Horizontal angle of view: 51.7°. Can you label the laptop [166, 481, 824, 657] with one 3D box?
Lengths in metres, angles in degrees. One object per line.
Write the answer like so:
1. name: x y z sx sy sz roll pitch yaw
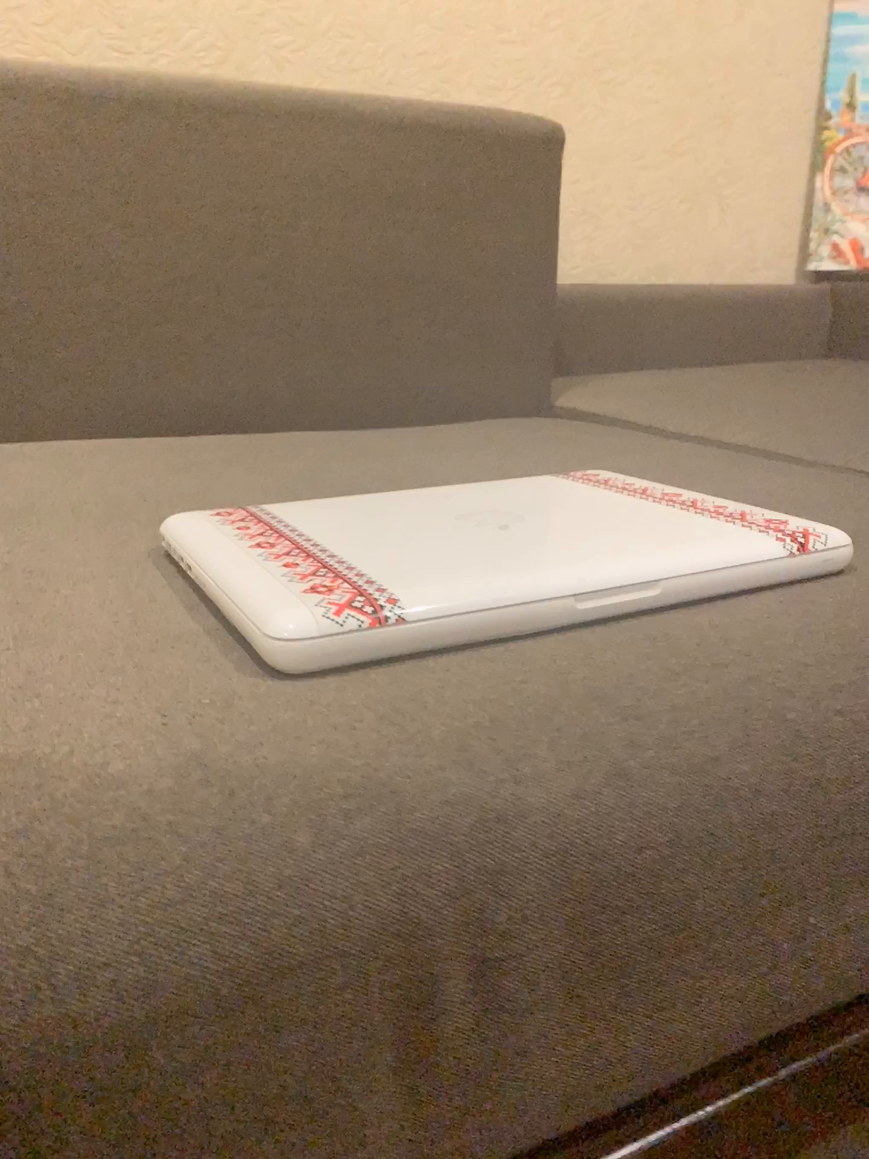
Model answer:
1. laptop: 0.029 -0.023 0.528 0.325 0.003 0.223 -8 20 -28
